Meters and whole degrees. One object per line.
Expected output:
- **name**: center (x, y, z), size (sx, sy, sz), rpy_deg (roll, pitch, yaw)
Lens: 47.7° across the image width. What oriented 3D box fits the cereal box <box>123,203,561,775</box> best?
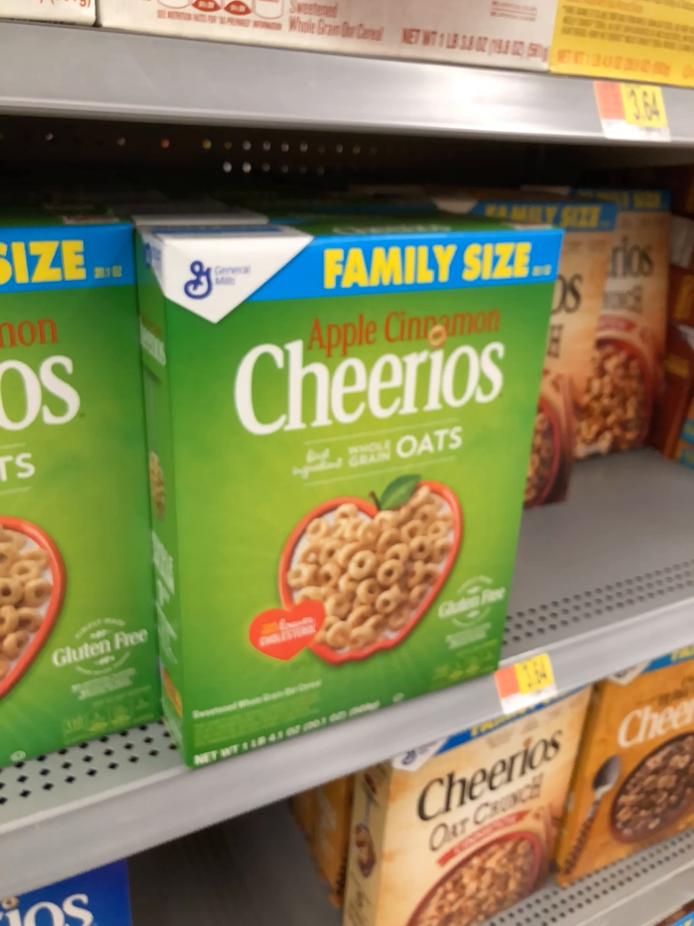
- **cereal box**: center (-0.002, 0.010, 0.471), size (0.230, 0.309, 0.060), rpy_deg (-9, 25, -27)
